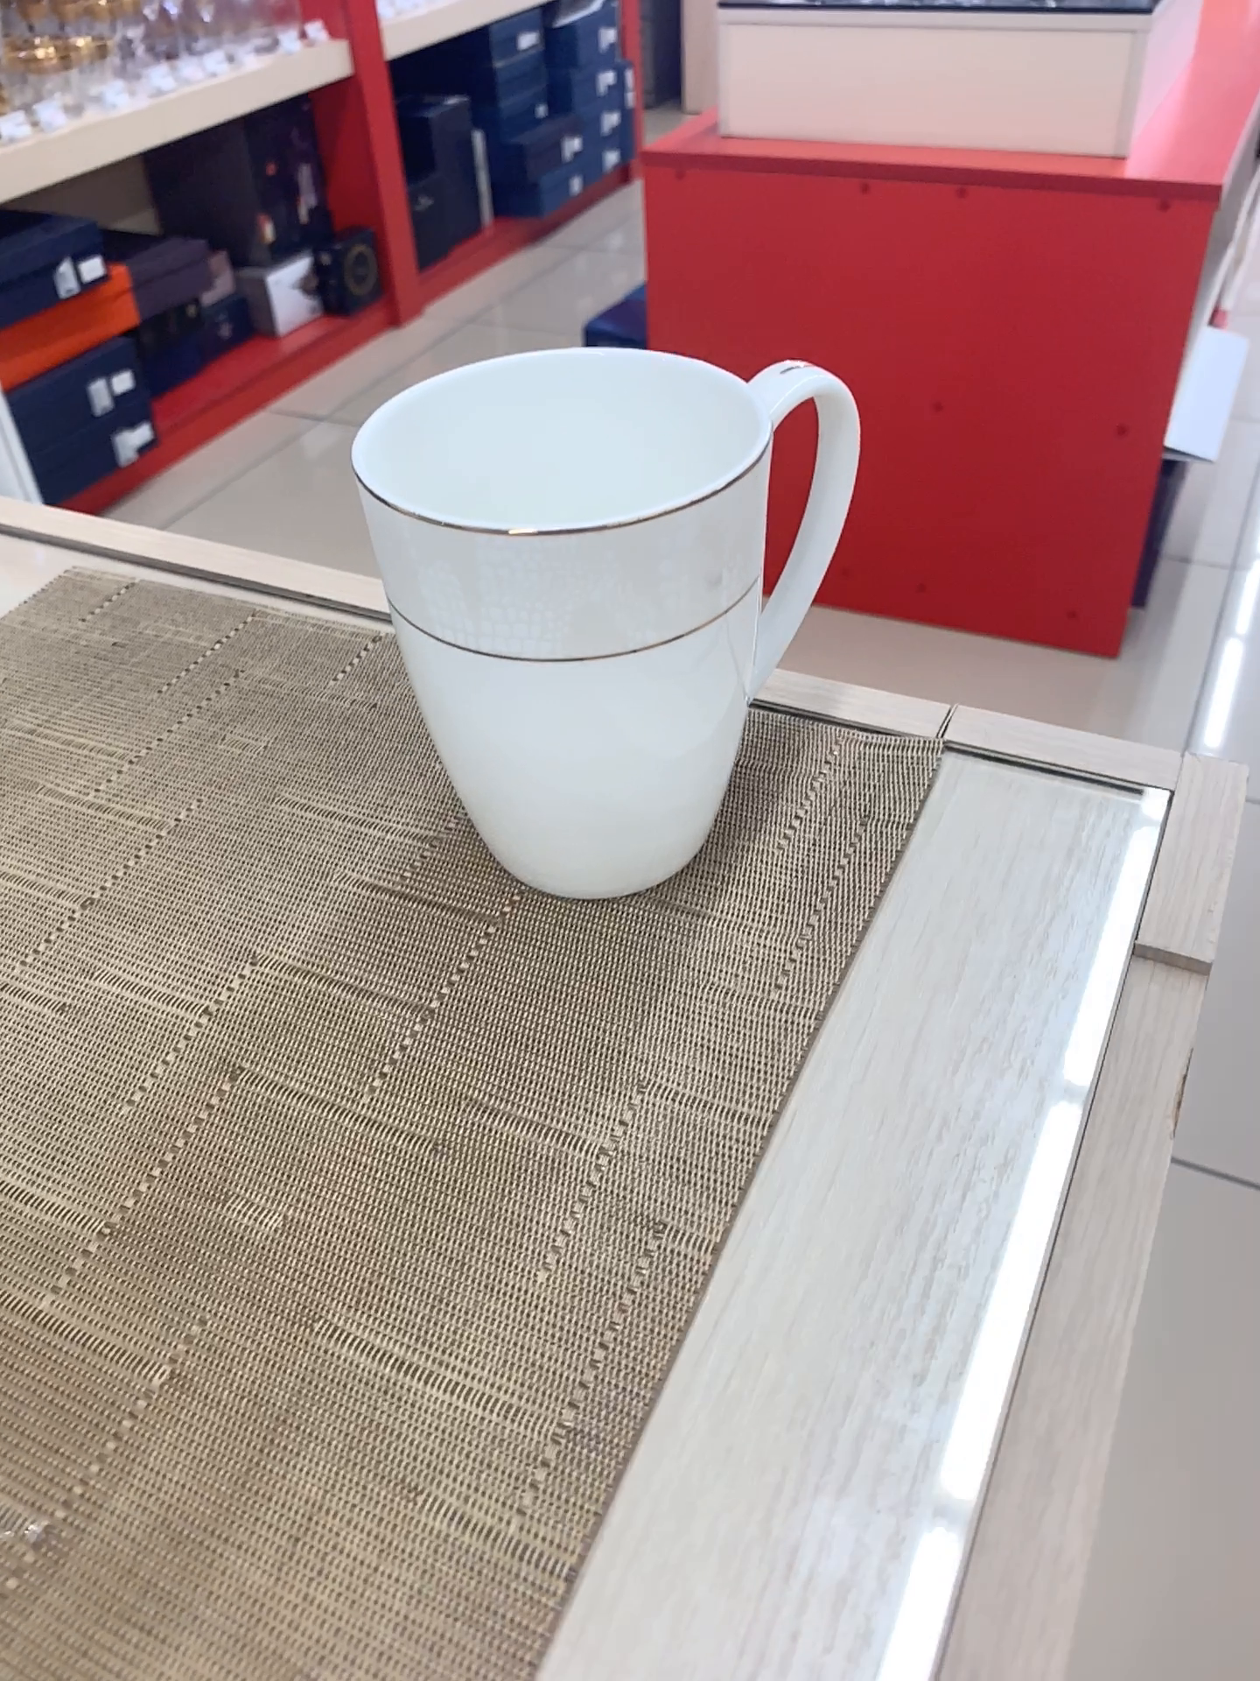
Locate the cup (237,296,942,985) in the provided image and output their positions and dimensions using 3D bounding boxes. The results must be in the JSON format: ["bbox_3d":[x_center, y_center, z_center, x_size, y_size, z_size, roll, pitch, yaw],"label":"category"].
[{"bbox_3d":[-0.008,-0.052,0.306,0.120,0.100,0.090,-23,44,-21],"label":"cup"}]
